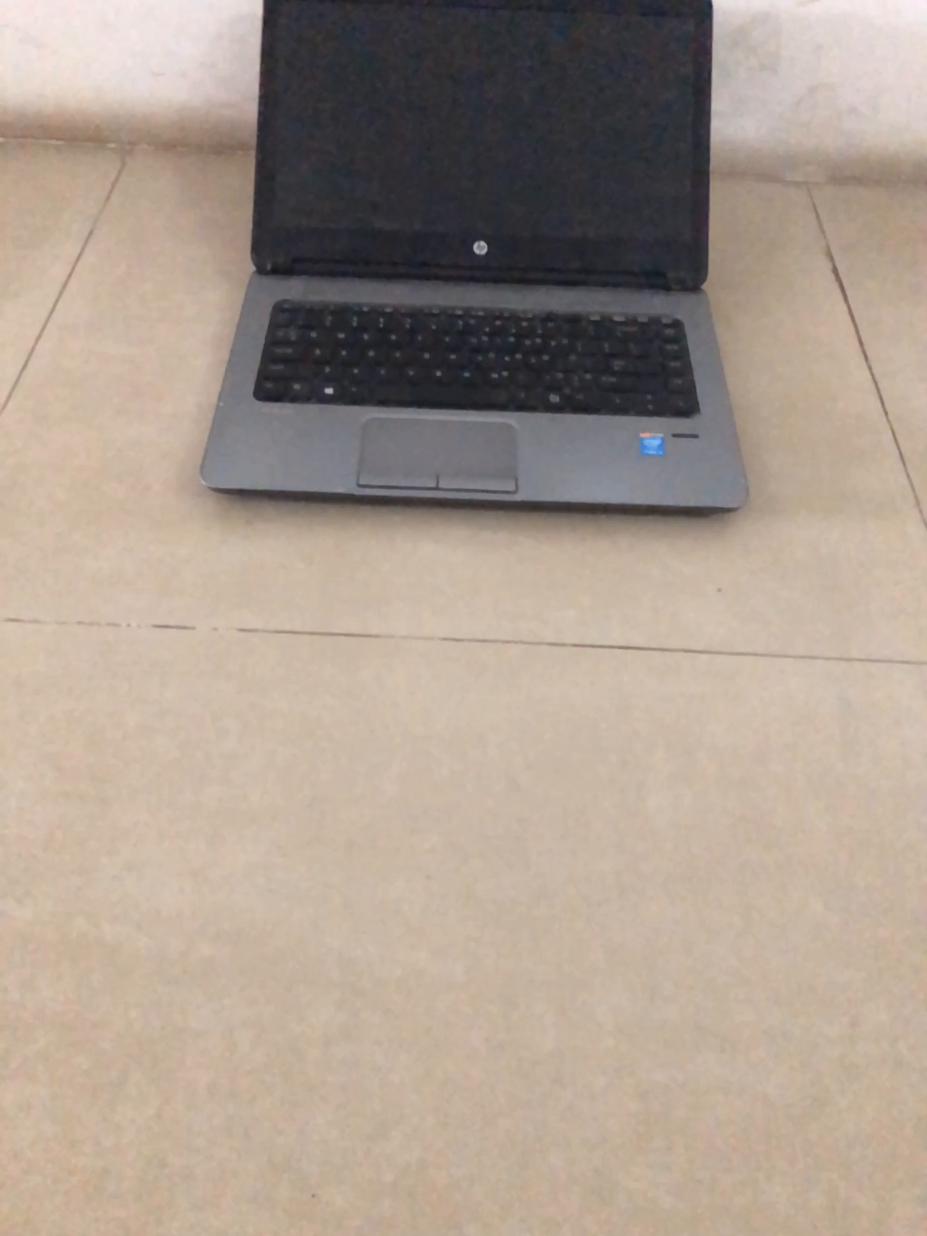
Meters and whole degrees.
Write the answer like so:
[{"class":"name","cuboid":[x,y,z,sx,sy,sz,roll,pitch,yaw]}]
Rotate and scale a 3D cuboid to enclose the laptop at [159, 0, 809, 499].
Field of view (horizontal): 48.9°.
[{"class":"laptop","cuboid":[0.013,-0.269,0.683,0.318,0.146,0.387,2,49,-1]}]
